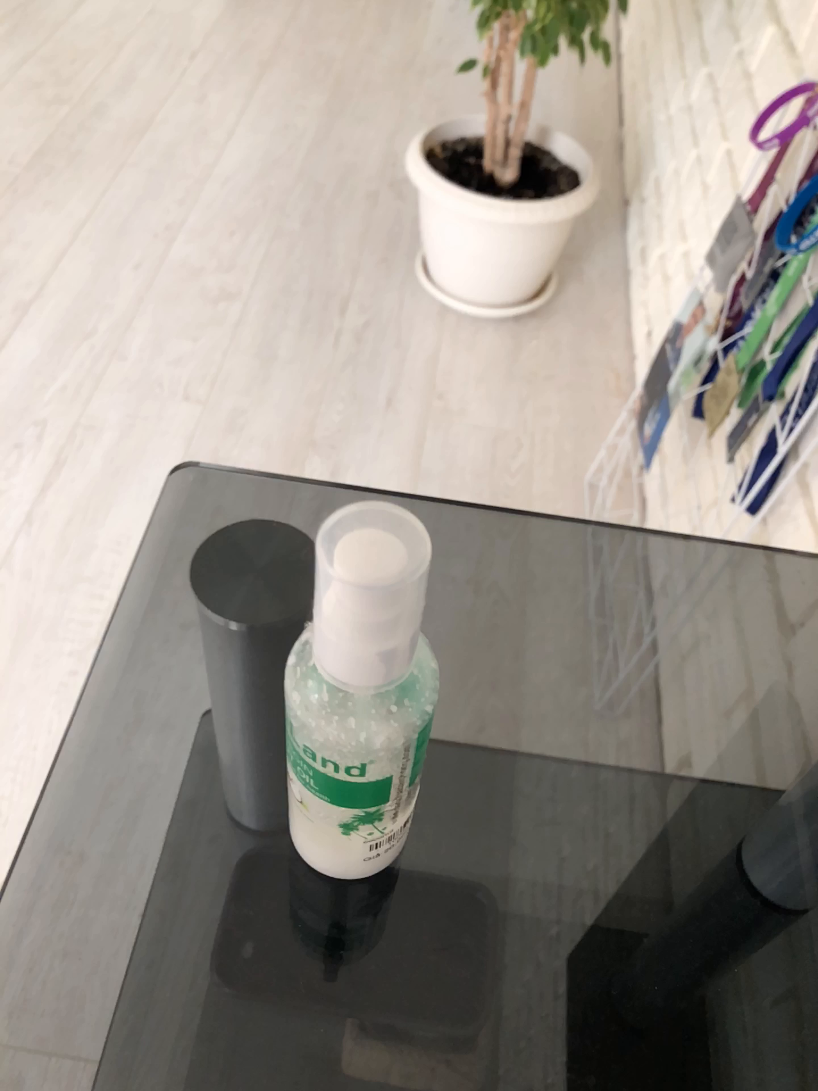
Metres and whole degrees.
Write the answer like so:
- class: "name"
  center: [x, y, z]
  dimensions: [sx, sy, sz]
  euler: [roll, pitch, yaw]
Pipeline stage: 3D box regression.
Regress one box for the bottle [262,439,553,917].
- class: "bottle"
  center: [-0.005, 0.045, 0.242]
  dimensions: [0.050, 0.139, 0.050]
  euler: [4, 50, -5]
